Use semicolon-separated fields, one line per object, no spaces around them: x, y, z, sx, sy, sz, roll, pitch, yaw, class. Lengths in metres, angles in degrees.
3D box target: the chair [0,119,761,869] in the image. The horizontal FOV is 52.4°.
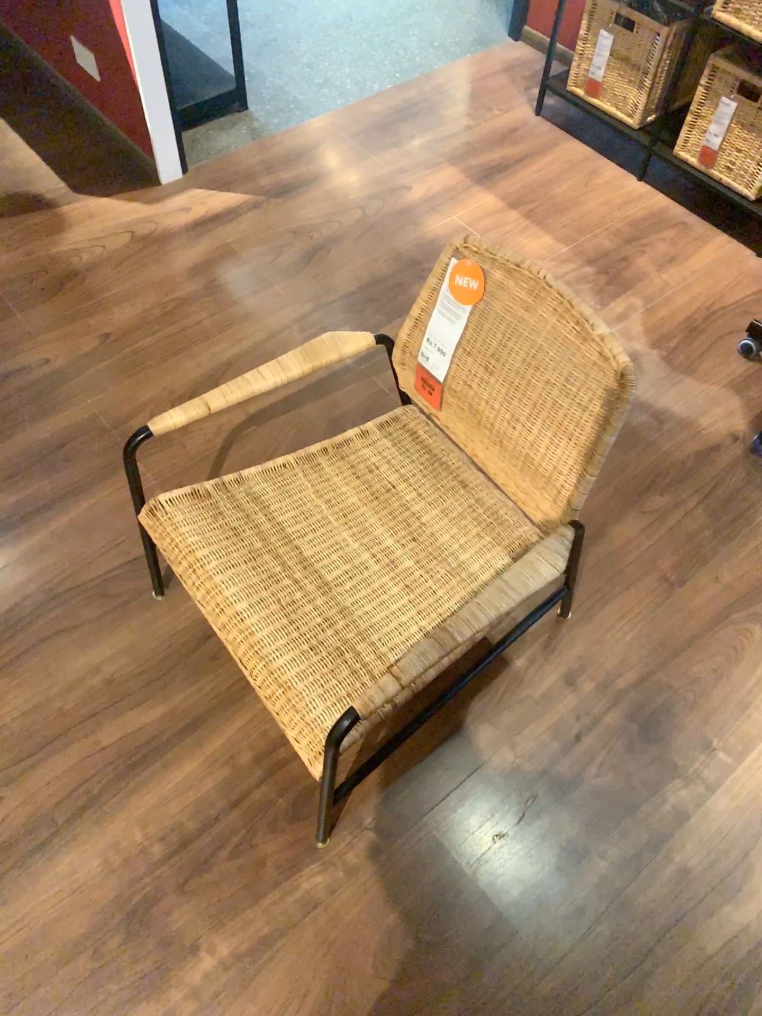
0.010;-0.016;1.328;0.791;0.758;0.711;-31;63;-22;chair
